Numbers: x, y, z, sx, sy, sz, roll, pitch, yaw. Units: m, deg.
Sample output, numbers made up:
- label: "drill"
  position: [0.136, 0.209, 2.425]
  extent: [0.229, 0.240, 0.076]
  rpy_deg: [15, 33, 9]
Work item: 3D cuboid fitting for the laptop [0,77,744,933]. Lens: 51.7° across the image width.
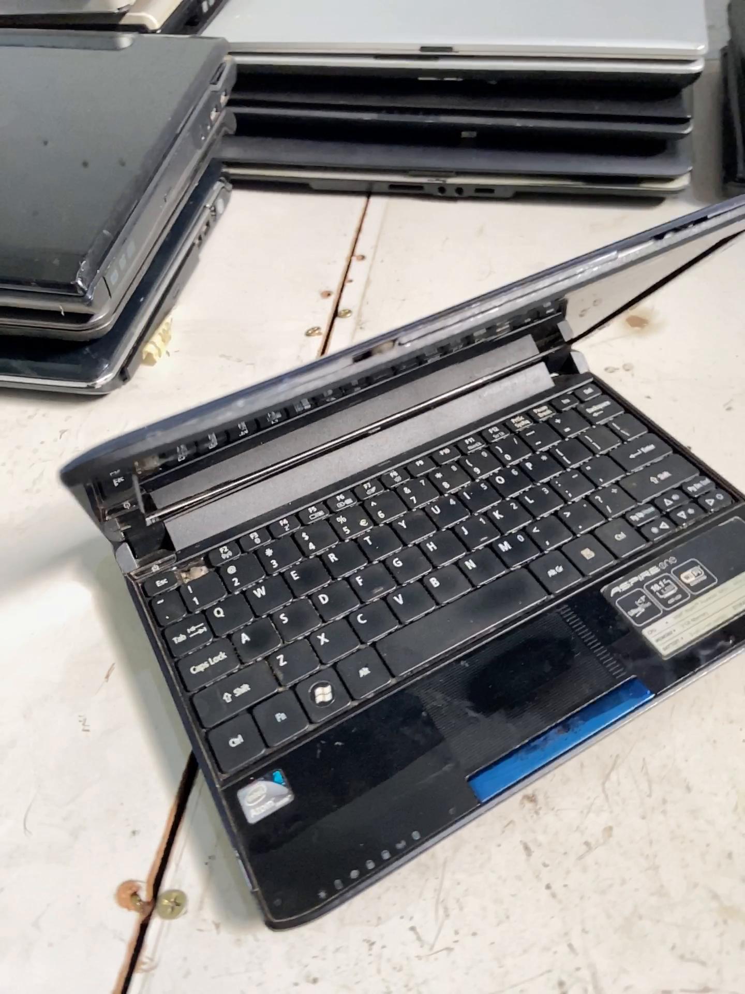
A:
- label: "laptop"
  position: [0.032, -0.020, 0.266]
  extent: [0.244, 0.131, 0.172]
  rpy_deg: [-25, 51, -17]
